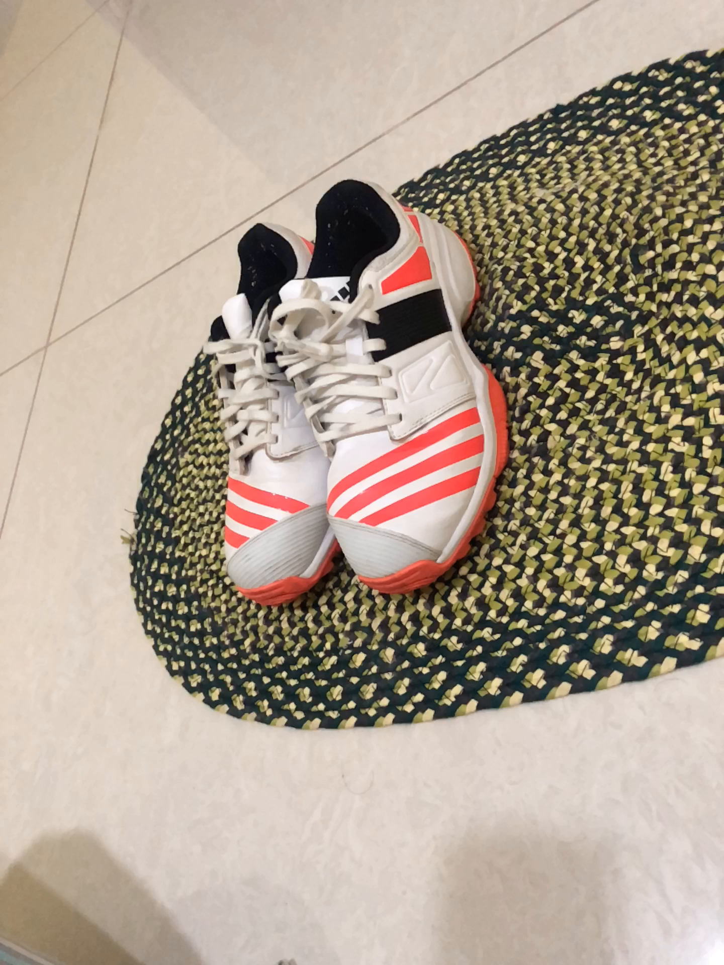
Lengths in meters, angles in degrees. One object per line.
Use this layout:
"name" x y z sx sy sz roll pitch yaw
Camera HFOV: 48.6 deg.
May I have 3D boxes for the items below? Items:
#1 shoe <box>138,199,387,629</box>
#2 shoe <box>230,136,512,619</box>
"shoe" -0.059 -0.046 0.554 0.101 0.090 0.270 -13 59 35
"shoe" 0.015 -0.059 0.479 0.111 0.099 0.250 -13 59 35
